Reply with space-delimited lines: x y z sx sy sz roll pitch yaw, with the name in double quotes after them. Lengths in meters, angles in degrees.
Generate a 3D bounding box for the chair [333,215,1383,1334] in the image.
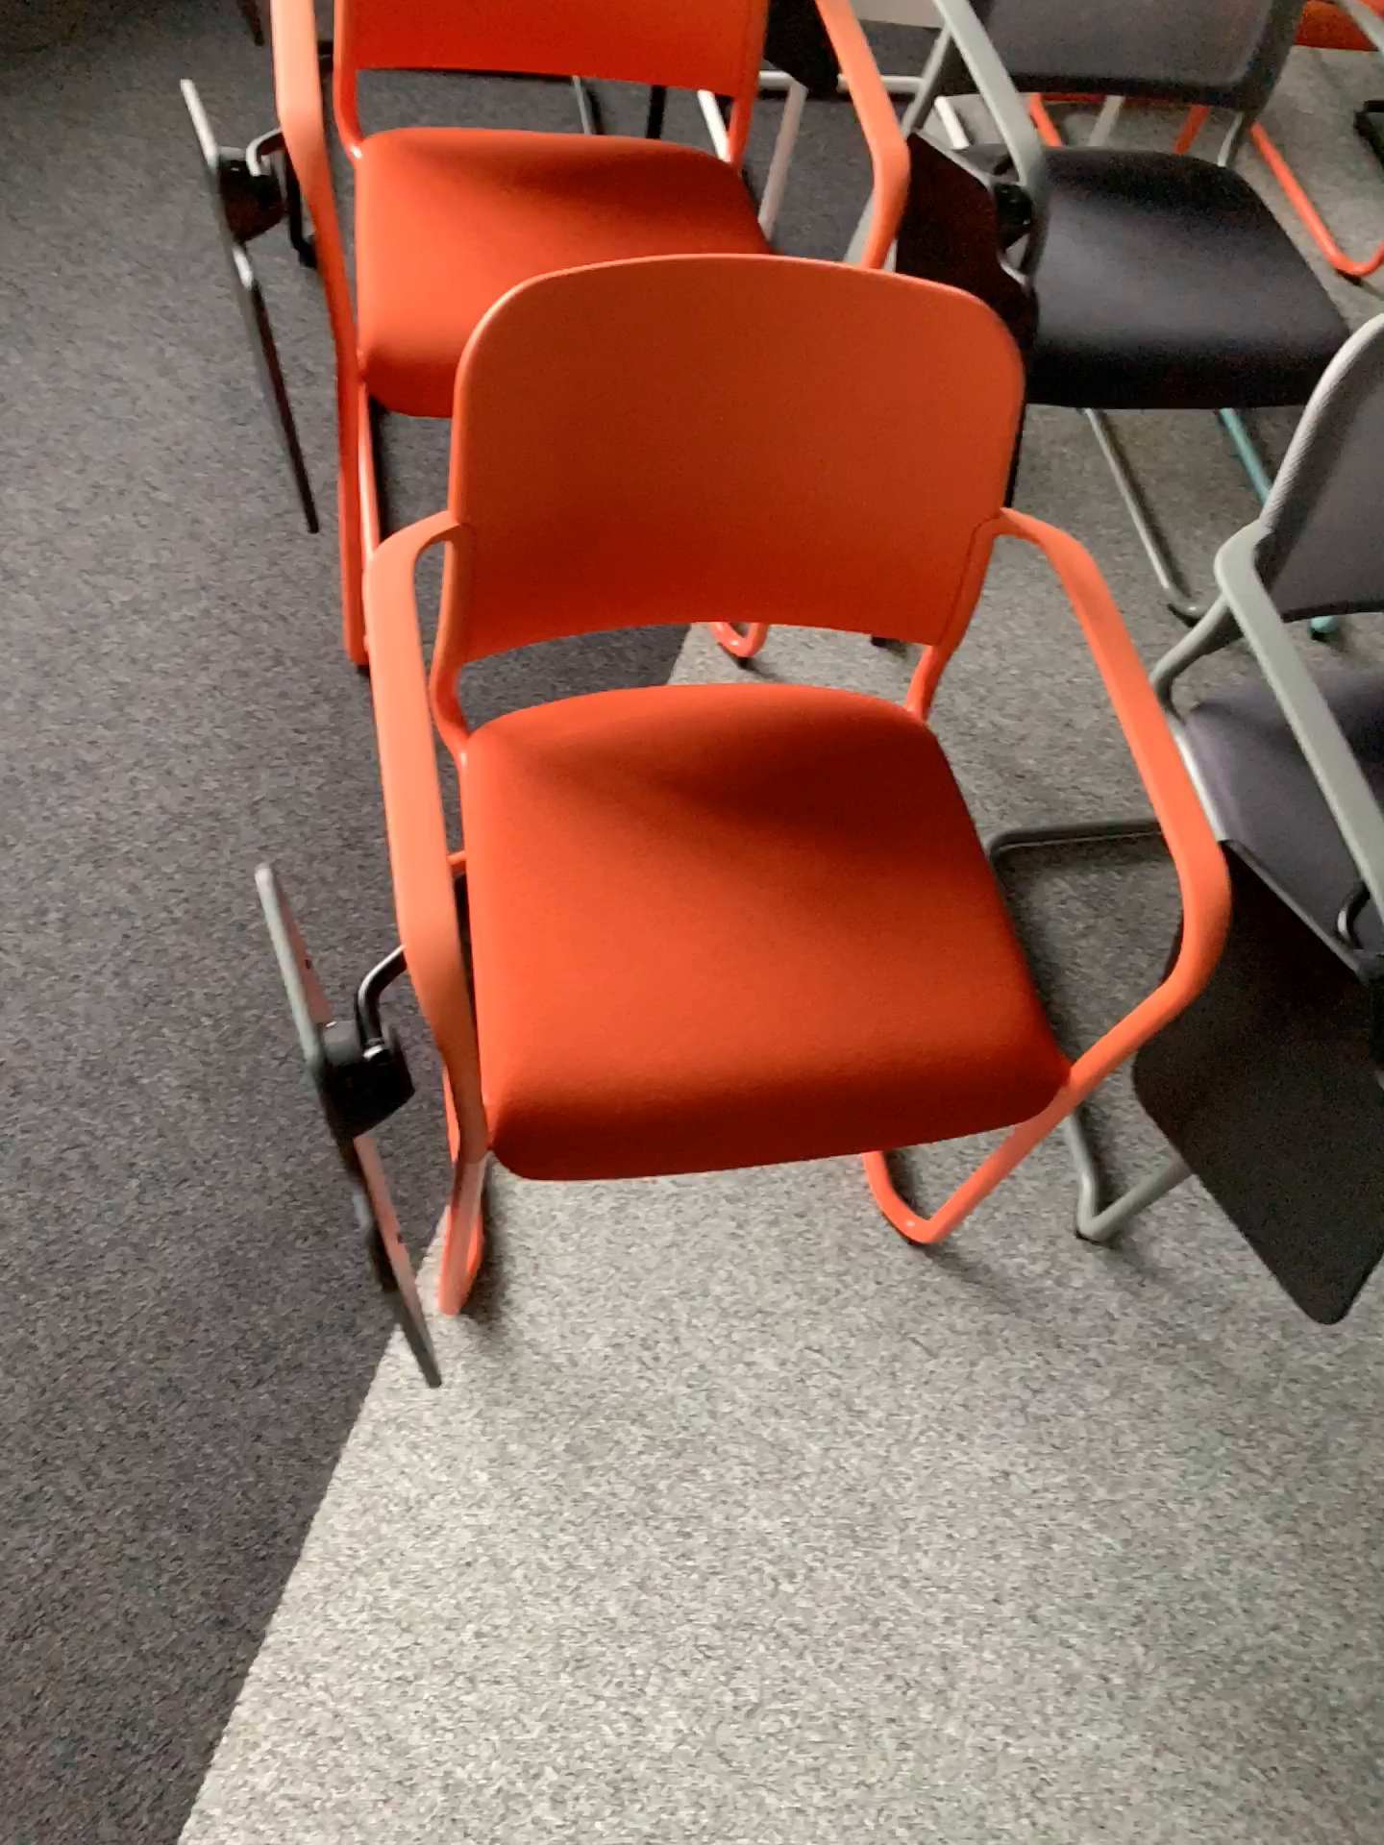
0.031 -0.060 1.205 0.581 0.767 0.561 -5 63 -13 "chair"

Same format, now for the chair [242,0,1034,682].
-0.128 -0.755 1.568 0.611 0.757 0.601 -5 62 -13 "chair"
